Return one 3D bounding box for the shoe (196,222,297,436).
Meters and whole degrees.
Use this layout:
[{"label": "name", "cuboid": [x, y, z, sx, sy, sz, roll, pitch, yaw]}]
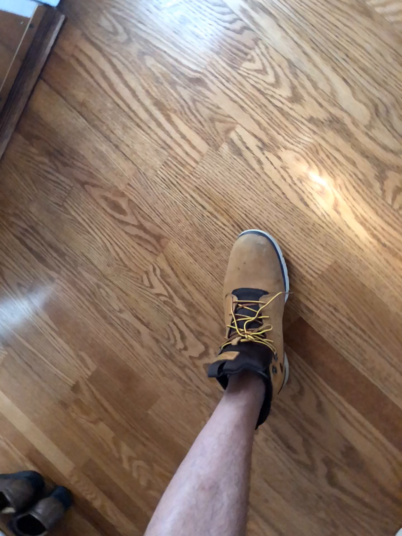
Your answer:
[{"label": "shoe", "cuboid": [0.081, 0.084, 0.719, 0.120, 0.150, 0.310, 0, 94, 22]}]
